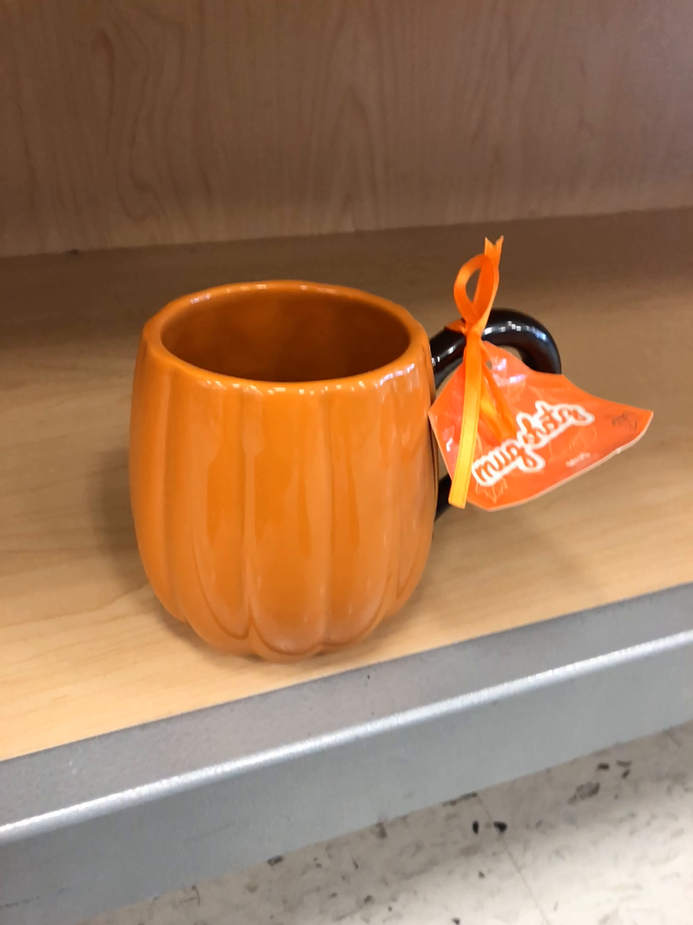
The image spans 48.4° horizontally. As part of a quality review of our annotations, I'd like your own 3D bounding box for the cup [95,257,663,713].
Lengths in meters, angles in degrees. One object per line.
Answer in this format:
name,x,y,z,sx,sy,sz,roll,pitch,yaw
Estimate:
cup,0.004,-0.002,0.242,0.140,0.089,0.081,-10,35,-19
